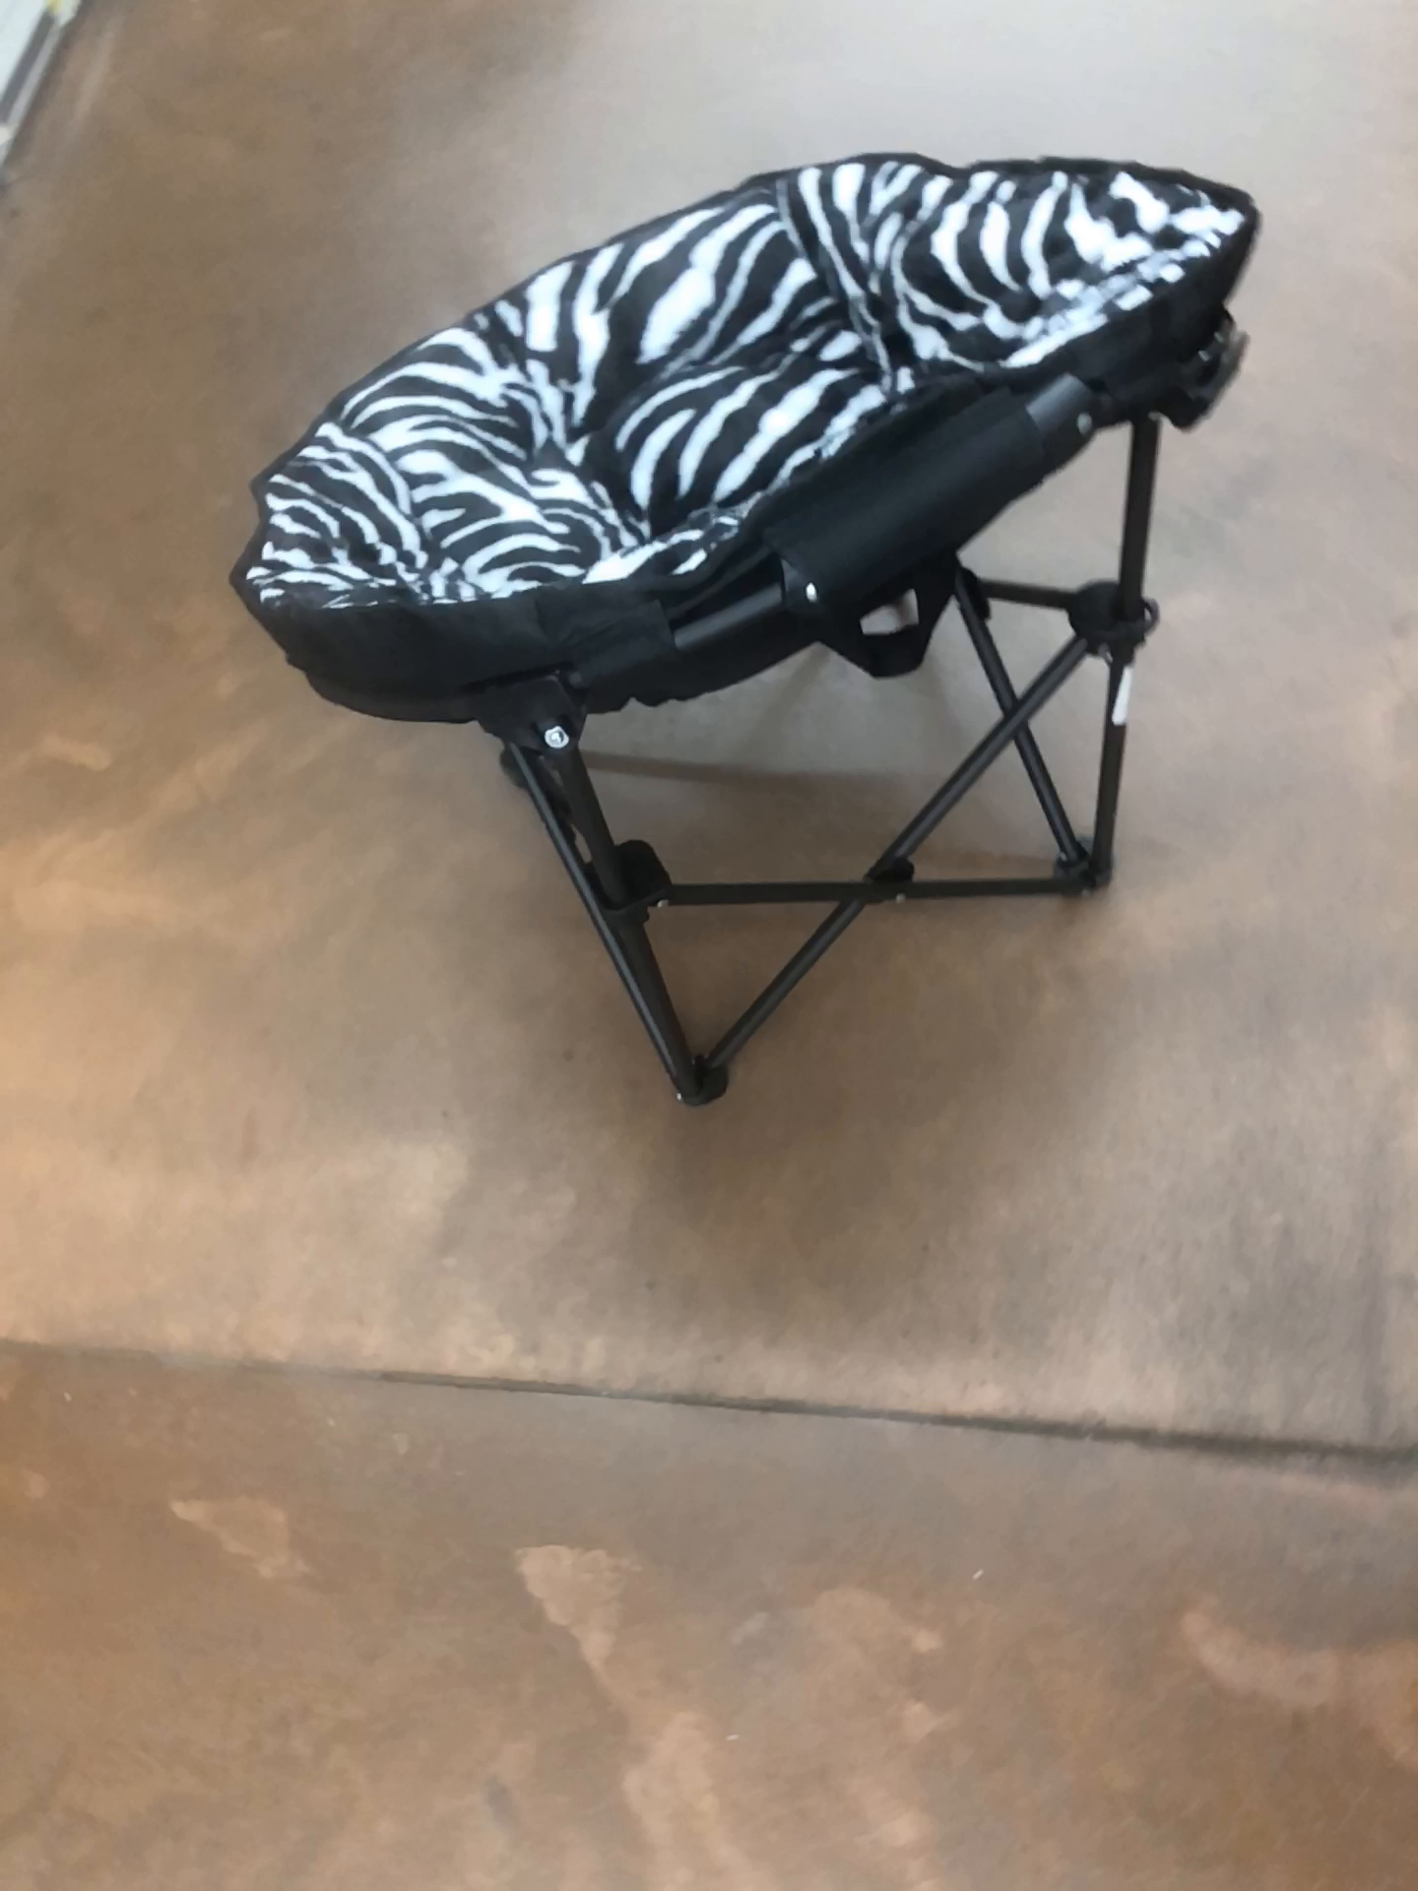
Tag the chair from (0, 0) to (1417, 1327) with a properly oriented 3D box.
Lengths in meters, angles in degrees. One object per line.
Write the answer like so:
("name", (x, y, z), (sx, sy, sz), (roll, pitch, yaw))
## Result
("chair", (-0.016, -0.236, 1.042), (0.610, 0.599, 0.601), (-29, 62, -7))
